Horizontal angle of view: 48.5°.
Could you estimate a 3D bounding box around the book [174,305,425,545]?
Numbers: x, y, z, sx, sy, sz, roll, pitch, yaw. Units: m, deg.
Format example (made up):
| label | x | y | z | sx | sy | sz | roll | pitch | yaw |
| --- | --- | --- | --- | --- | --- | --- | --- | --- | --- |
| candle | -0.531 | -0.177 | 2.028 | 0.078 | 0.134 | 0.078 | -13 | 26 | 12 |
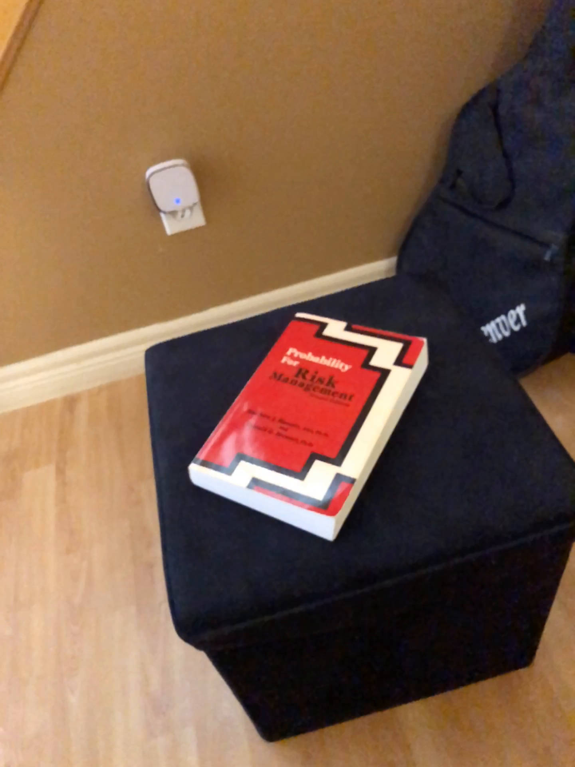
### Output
| label | x | y | z | sx | sy | sz | roll | pitch | yaw |
| --- | --- | --- | --- | --- | --- | --- | --- | --- | --- |
| book | 0.019 | 0.025 | 0.602 | 0.150 | 0.041 | 0.216 | 17 | 53 | 25 |
